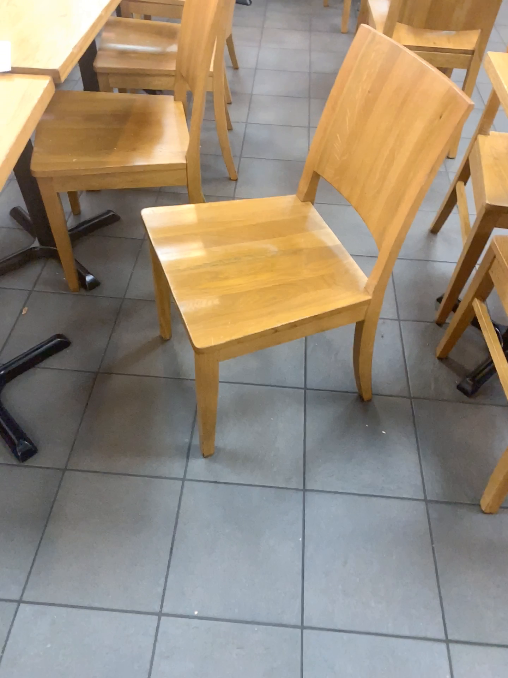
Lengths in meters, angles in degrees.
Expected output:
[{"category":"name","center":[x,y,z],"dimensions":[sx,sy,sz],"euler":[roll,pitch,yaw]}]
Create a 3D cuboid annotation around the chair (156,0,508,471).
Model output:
[{"category":"chair","center":[0.152,-0.218,1.197],"dimensions":[0.611,0.892,0.514],"euler":[-13,51,-19]}]
